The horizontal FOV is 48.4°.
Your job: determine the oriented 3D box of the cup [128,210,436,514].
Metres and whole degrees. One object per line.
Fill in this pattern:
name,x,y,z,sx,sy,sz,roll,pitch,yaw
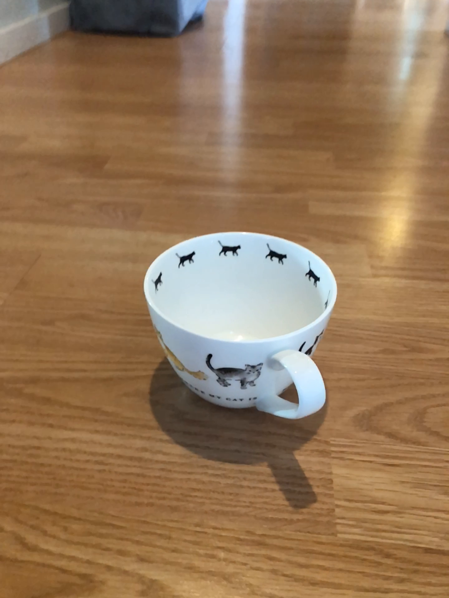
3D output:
cup,0.021,0.024,0.320,0.120,0.080,0.161,-14,40,-19
